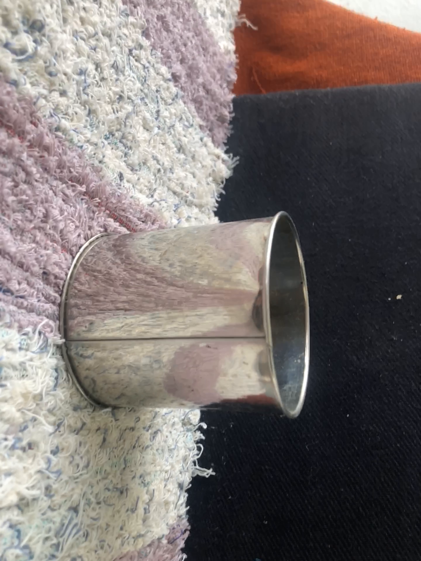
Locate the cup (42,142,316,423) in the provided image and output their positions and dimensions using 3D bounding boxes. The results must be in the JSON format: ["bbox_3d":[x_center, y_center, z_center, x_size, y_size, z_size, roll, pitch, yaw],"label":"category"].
[{"bbox_3d":[-0.003,0.009,0.195,0.080,0.080,0.090,40,51,-64],"label":"cup"}]
